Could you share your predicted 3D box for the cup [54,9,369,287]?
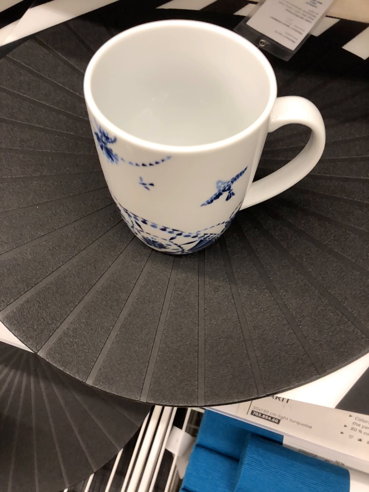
[{"bbox_3d":[0.018,-0.049,0.227,0.130,0.100,0.100,4,60,2],"label":"cup"}]
